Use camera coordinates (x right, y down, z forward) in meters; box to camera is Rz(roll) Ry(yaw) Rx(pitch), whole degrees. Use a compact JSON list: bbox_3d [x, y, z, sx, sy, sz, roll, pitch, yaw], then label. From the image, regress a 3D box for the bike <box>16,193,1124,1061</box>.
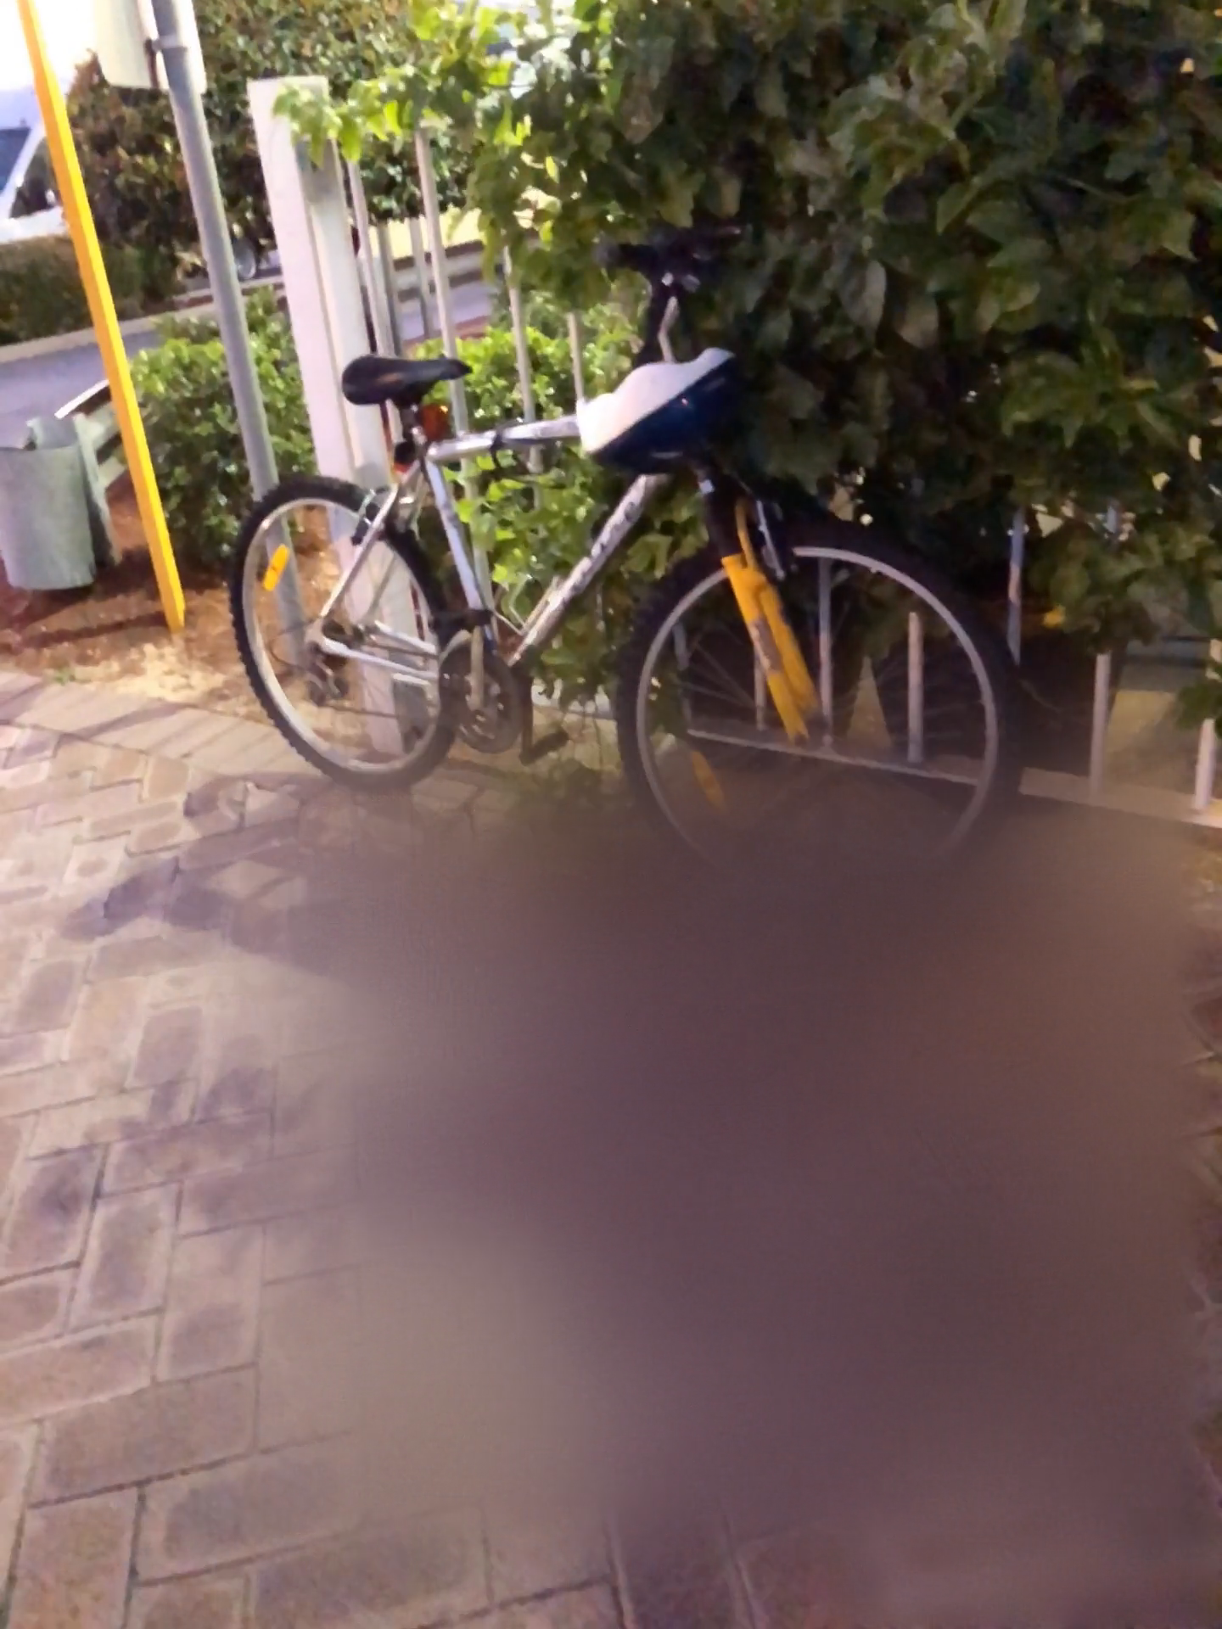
[{"bbox_3d":[-0.126,-0.398,2.210,1.695,0.995,0.554,13,31,34],"label":"bike"}]
